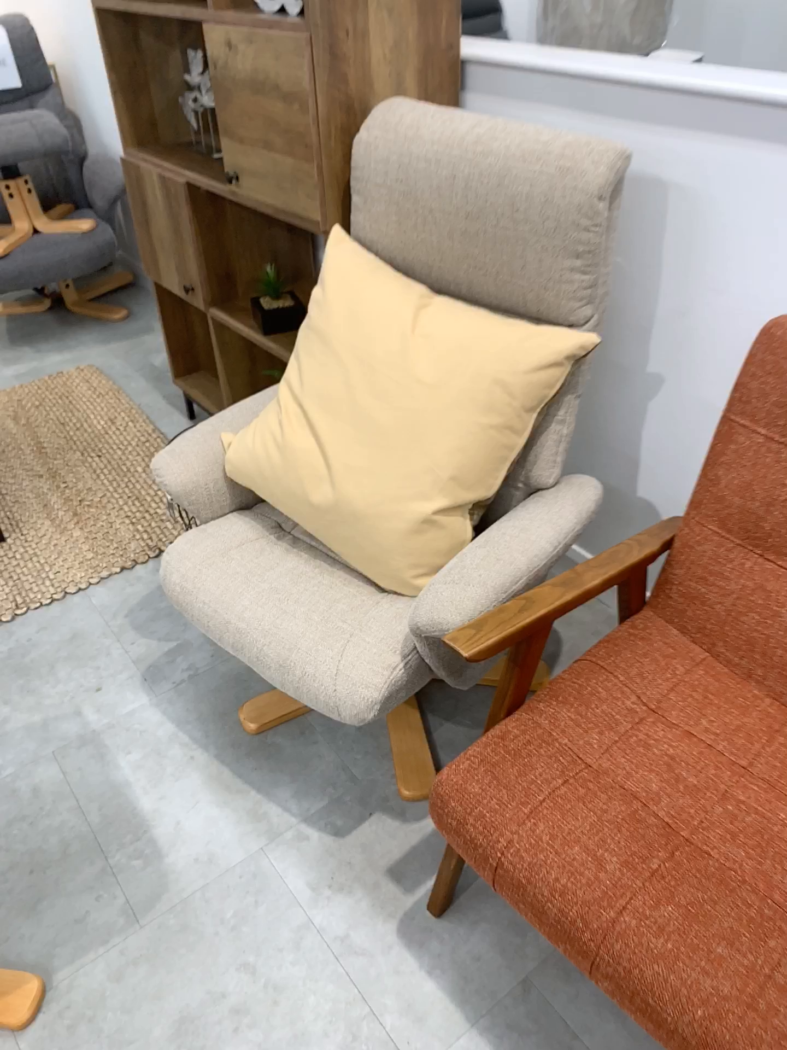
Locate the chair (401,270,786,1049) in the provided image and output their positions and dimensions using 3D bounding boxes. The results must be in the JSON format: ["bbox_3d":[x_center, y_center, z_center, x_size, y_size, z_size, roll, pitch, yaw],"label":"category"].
[{"bbox_3d":[0.450,0.233,1.082,0.619,0.919,0.554,-23,41,-36],"label":"chair"}]

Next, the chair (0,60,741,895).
[{"bbox_3d":[-0.057,-0.104,1.401,0.764,1.046,0.661,30,47,28],"label":"chair"}]
